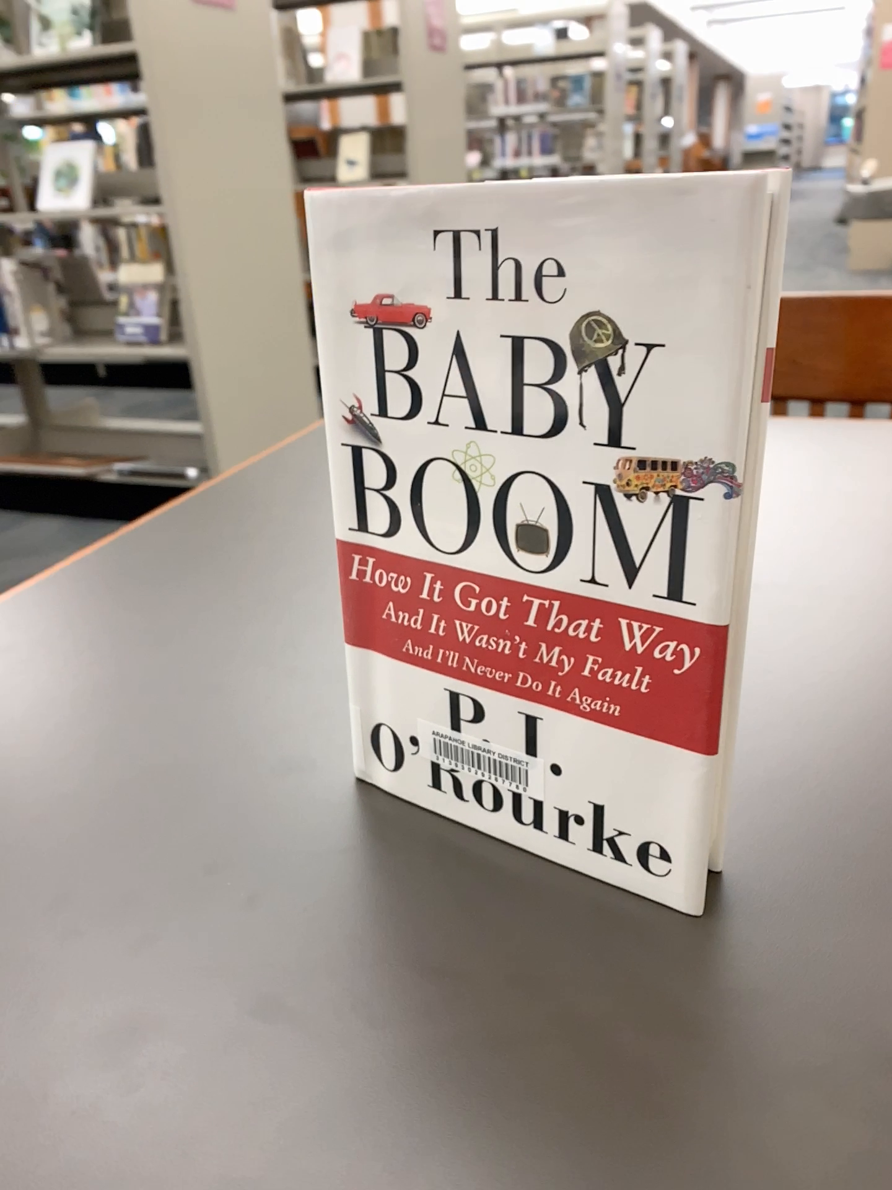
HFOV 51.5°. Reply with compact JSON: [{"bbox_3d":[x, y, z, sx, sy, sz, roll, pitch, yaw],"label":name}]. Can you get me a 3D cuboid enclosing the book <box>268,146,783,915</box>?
[{"bbox_3d":[0.018,-0.021,0.319,0.160,0.231,0.030,13,26,33],"label":"book"}]
